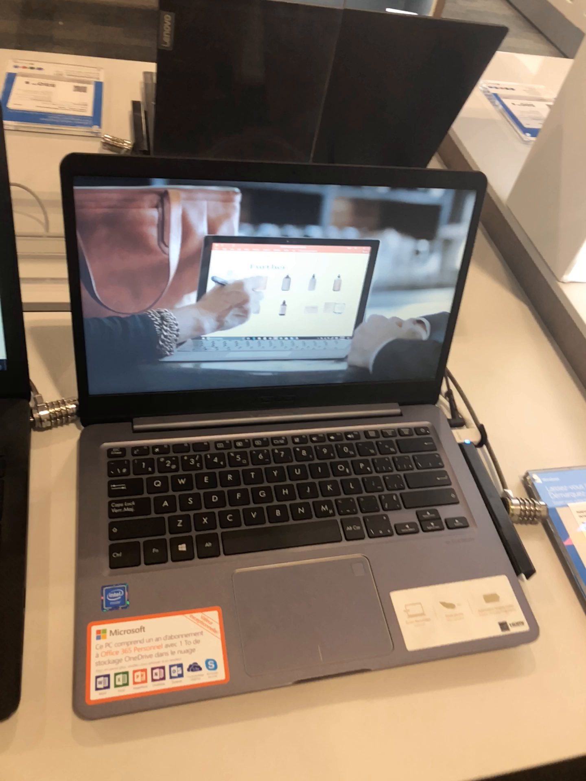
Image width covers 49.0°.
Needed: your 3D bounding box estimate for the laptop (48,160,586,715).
[{"bbox_3d":[0.015,0.012,0.451,0.316,0.196,0.292,-3,50,-15],"label":"laptop"}]
